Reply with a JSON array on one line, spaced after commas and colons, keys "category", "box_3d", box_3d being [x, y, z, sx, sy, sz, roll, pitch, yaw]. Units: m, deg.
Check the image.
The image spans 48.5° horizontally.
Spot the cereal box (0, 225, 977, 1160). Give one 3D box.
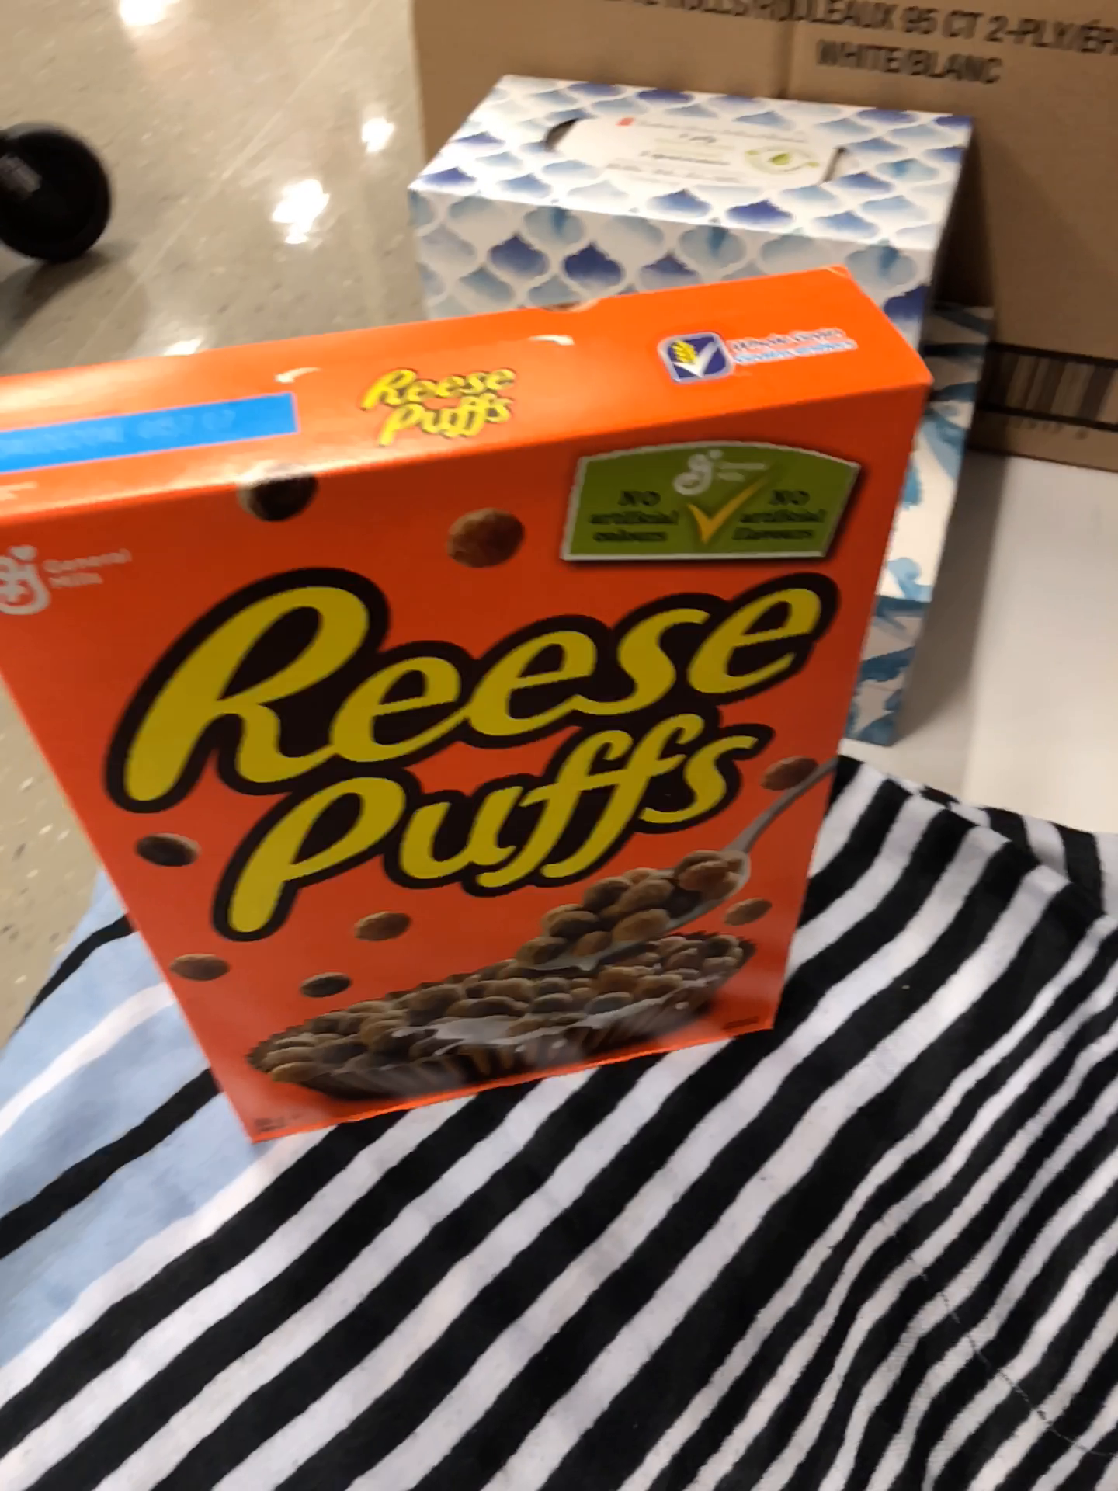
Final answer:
[{"category": "cereal box", "box_3d": [-0.026, 0.015, 0.332, 0.210, 0.269, 0.040, -11, 50, -7]}]
